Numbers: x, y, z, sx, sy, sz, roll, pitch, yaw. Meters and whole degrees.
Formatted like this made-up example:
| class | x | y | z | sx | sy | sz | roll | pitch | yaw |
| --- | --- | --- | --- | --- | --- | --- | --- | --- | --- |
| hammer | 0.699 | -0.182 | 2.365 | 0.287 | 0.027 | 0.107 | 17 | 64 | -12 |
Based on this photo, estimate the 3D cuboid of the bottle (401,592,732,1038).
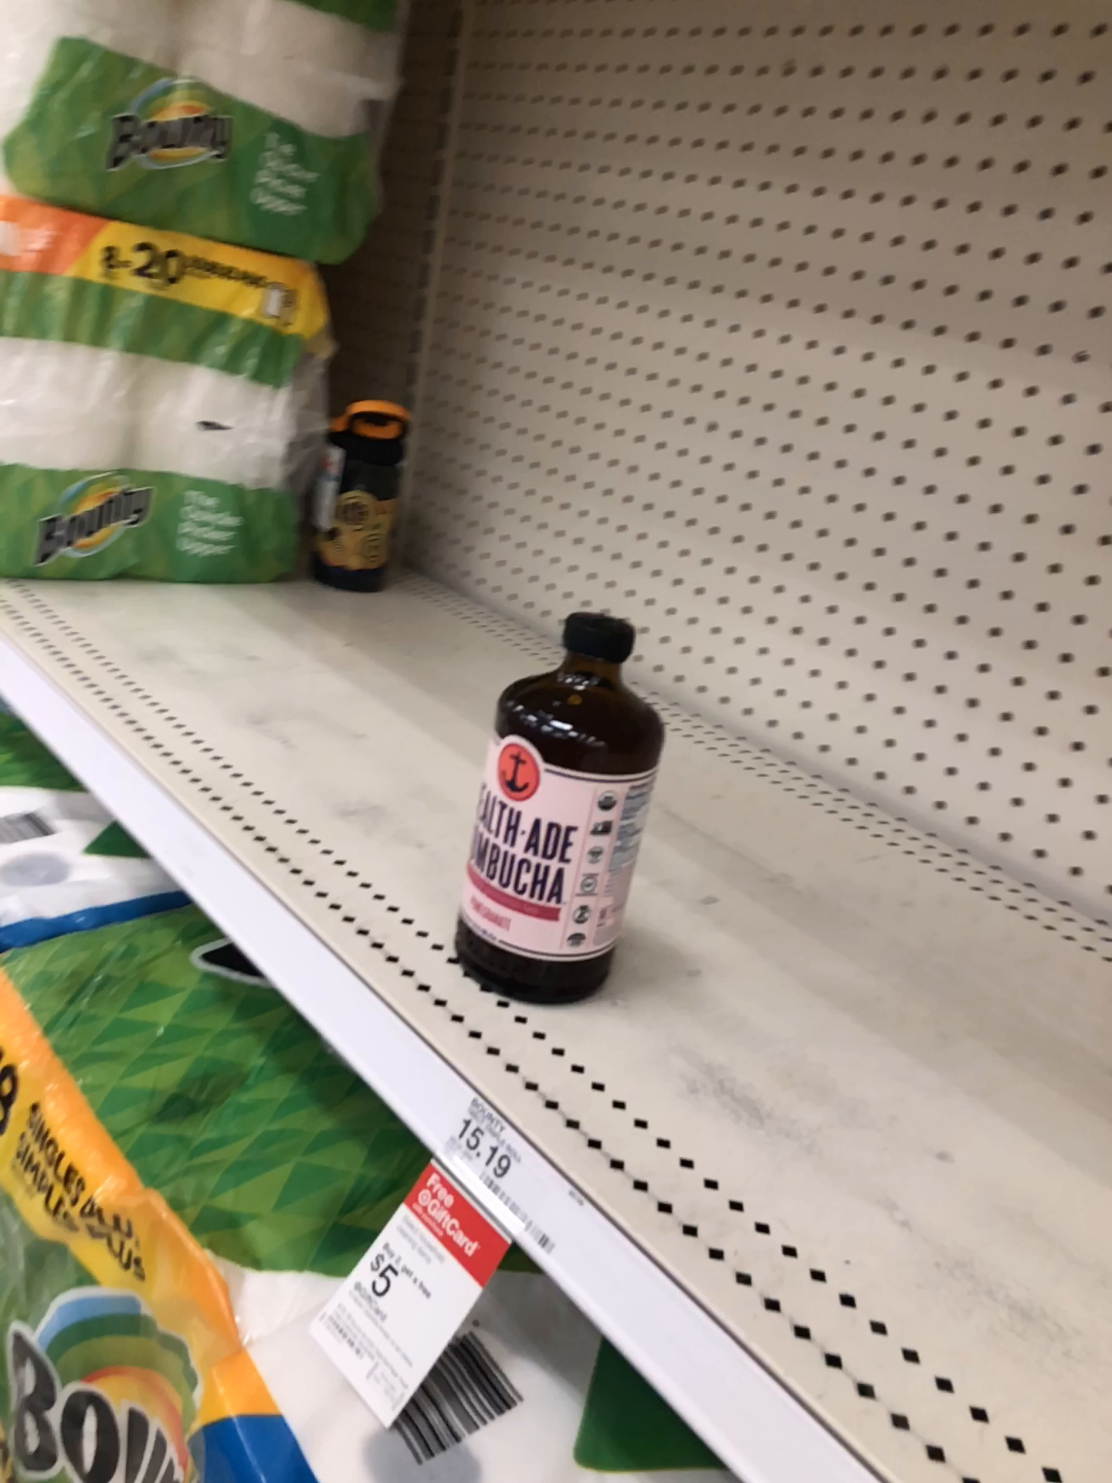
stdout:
| class | x | y | z | sx | sy | sz | roll | pitch | yaw |
| --- | --- | --- | --- | --- | --- | --- | --- | --- | --- |
| bottle | 0.001 | 0.028 | 0.557 | 0.090 | 0.169 | 0.086 | 9 | 20 | -3 |
